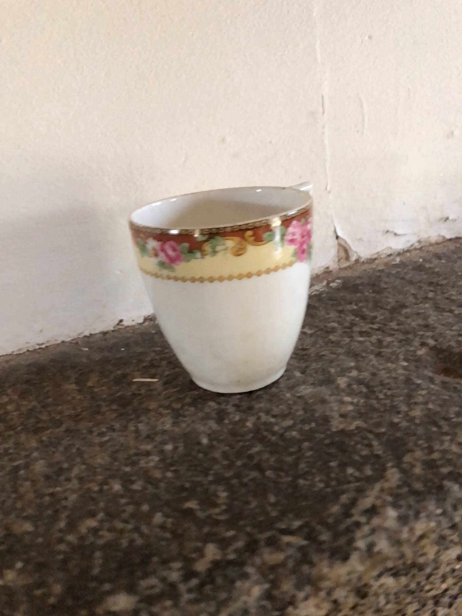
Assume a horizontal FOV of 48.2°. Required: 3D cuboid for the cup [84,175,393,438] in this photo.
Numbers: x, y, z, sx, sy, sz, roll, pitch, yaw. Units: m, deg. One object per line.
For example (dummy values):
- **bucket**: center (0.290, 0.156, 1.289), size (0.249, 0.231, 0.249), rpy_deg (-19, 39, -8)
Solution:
- **cup**: center (0.005, -0.010, 0.201), size (0.090, 0.060, 0.070), rpy_deg (-23, 28, -31)
